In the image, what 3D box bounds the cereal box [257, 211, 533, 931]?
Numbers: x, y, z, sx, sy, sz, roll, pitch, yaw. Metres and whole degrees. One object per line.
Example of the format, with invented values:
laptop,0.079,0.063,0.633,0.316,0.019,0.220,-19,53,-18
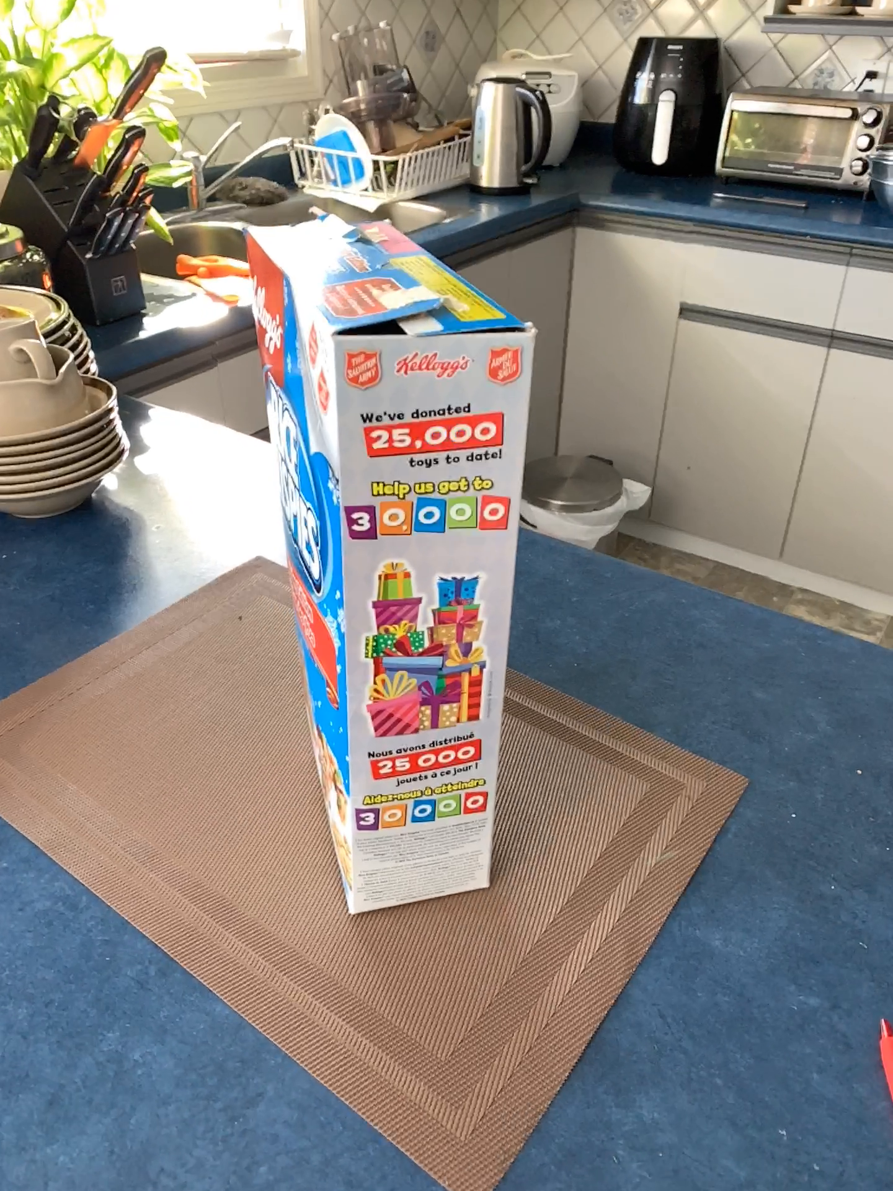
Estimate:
cereal box,-0.041,-0.019,0.512,0.080,0.327,0.222,-7,33,-14
